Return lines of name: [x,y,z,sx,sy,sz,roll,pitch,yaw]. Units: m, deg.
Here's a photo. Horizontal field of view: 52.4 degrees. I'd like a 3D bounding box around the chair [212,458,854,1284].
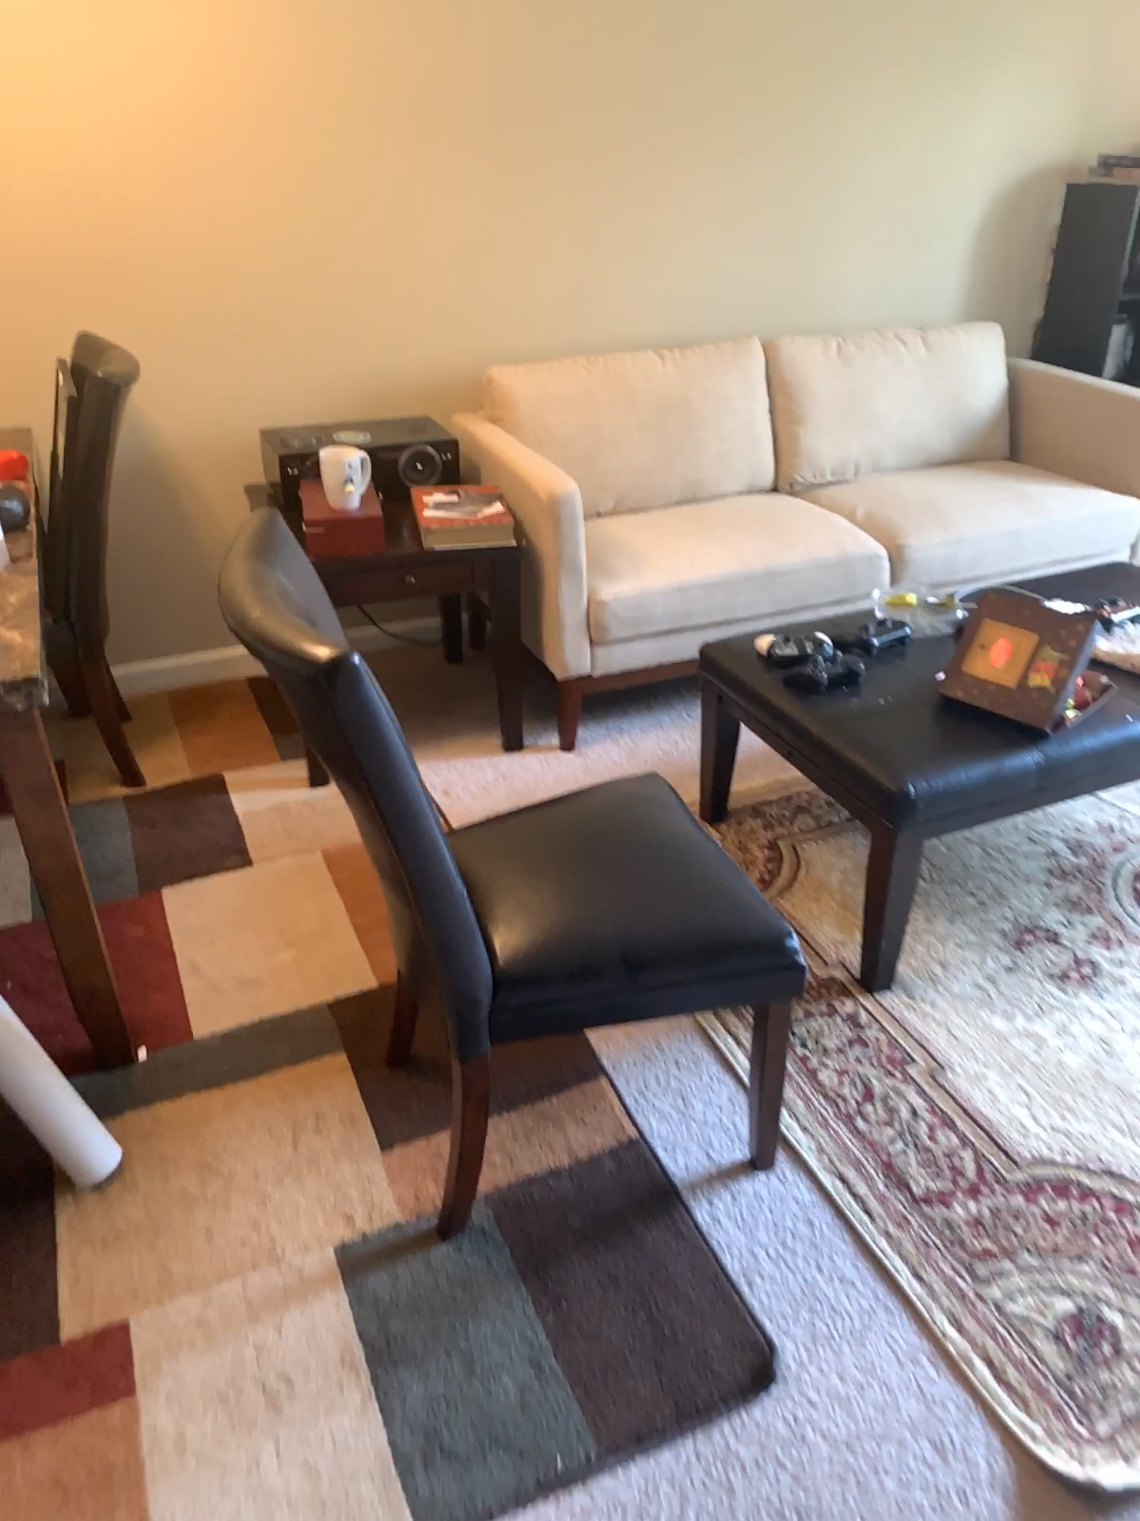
chair: [-0.068,0.127,1.631,0.650,0.915,0.493,-11,31,-19]
